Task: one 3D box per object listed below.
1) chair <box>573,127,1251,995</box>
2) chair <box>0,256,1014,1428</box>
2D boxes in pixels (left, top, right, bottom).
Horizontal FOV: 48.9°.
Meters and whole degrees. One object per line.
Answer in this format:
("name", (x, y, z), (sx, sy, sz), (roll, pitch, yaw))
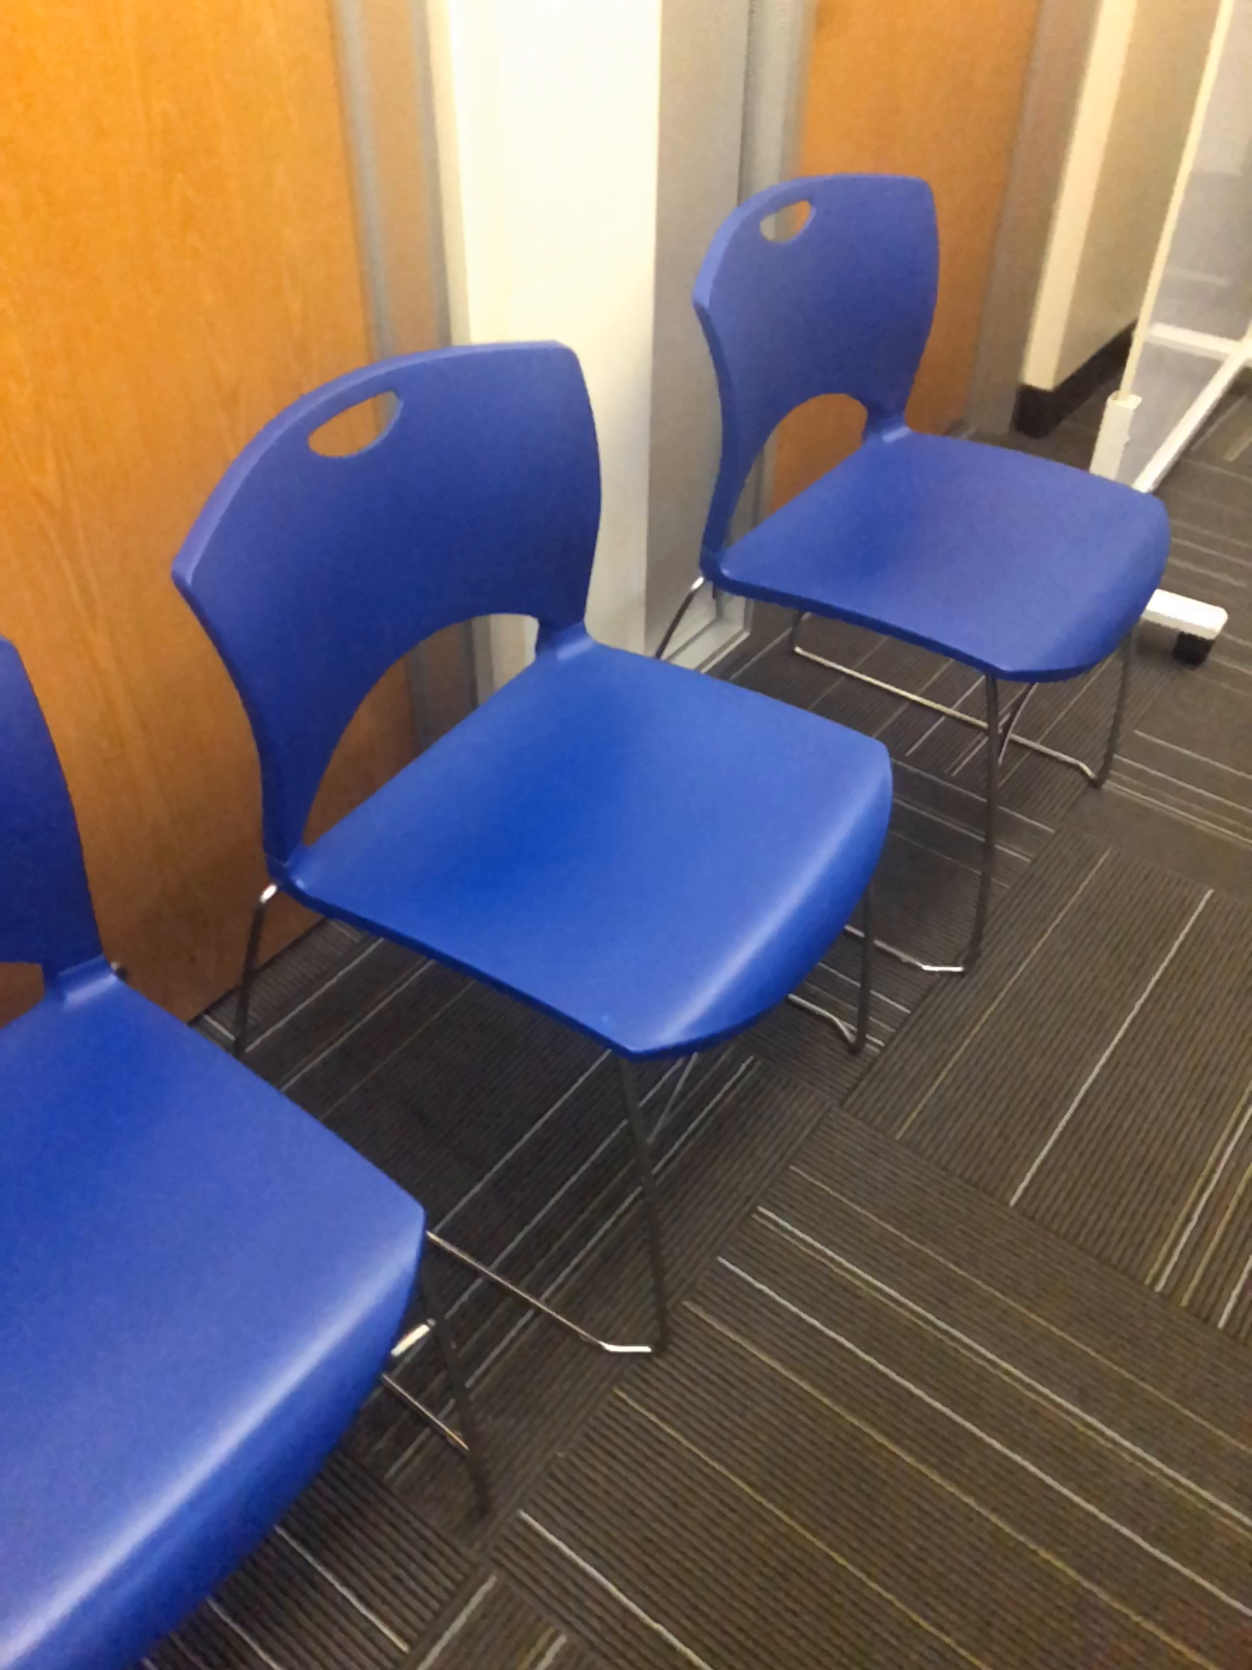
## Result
("chair", (0.339, -0.358, 1.722), (0.590, 0.773, 0.544), (26, 46, 27))
("chair", (-0.097, -0.002, 1.373), (0.630, 0.853, 0.524), (25, 46, 25))
